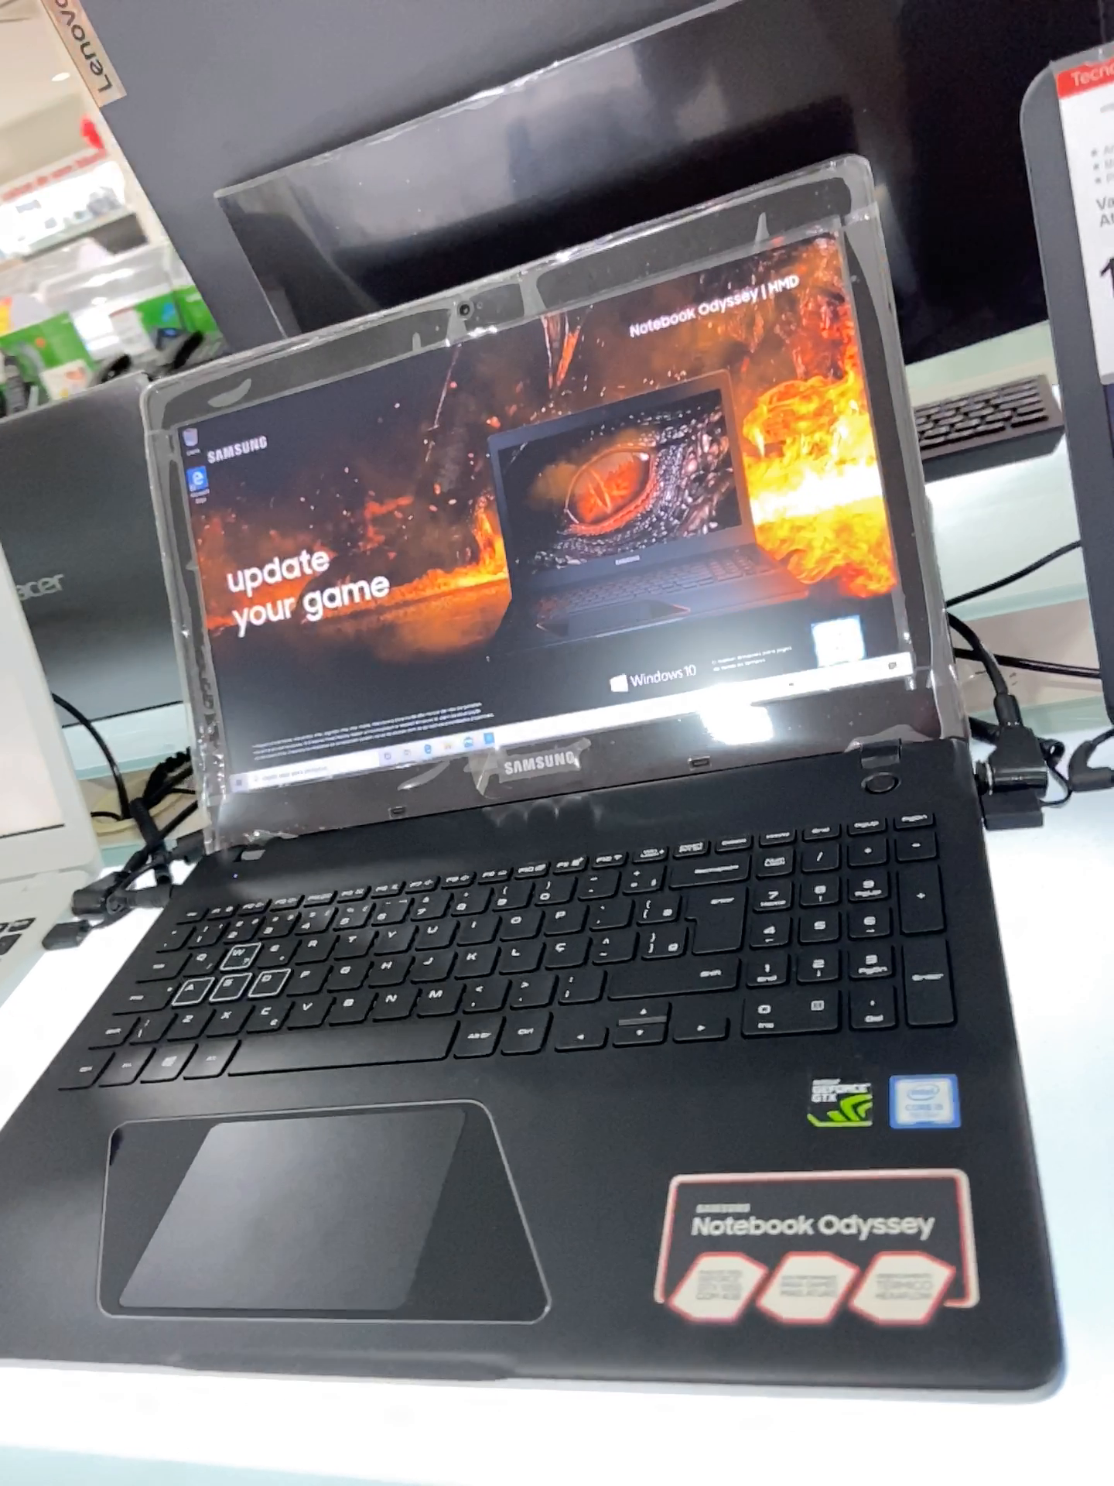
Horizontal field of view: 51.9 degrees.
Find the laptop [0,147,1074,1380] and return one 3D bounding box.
[{"bbox_3d":[-0.055,-0.025,0.423,0.374,0.202,0.393,-10,30,21],"label":"laptop"}]
